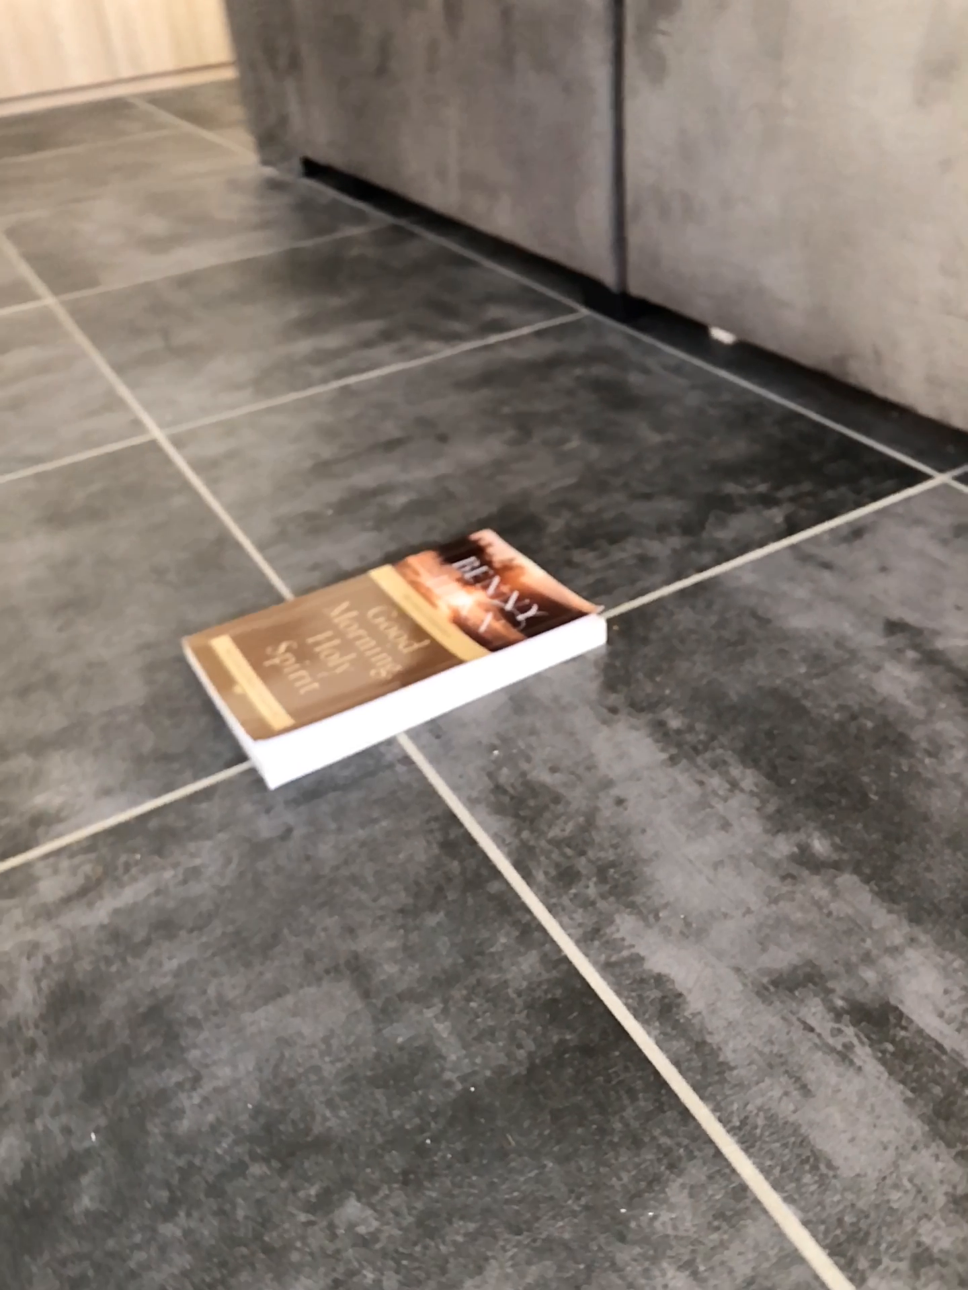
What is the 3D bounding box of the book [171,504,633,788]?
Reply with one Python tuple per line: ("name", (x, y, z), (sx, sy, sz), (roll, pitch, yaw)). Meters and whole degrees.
("book", (-0.050, -0.011, 0.639), (0.231, 0.020, 0.150), (-22, 39, -22))
